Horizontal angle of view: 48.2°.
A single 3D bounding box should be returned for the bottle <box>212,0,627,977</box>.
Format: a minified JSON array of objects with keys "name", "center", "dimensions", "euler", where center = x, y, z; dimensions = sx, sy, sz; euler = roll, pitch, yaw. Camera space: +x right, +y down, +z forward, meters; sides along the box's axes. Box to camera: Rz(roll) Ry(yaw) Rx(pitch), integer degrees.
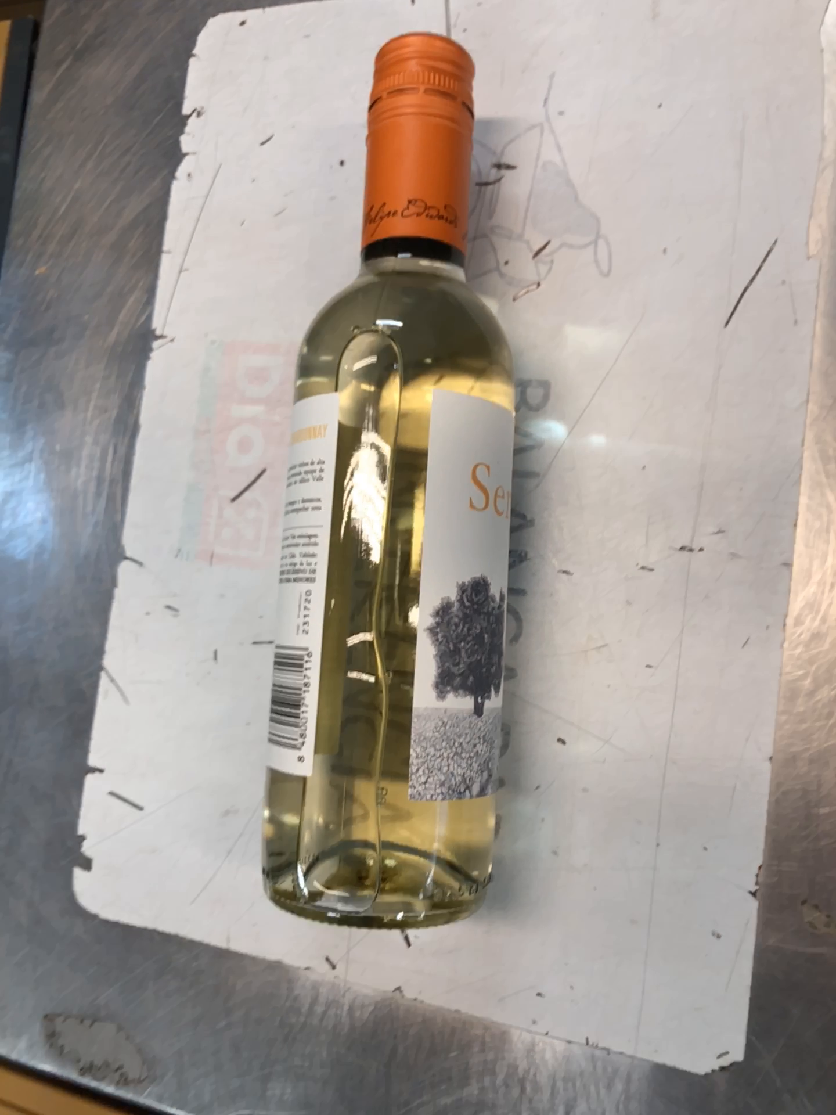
[{"name":"bottle","center":[0.001,-0.039,0.257],"dimensions":[0.070,0.070,0.270],"euler":[6,87,-2]}]
